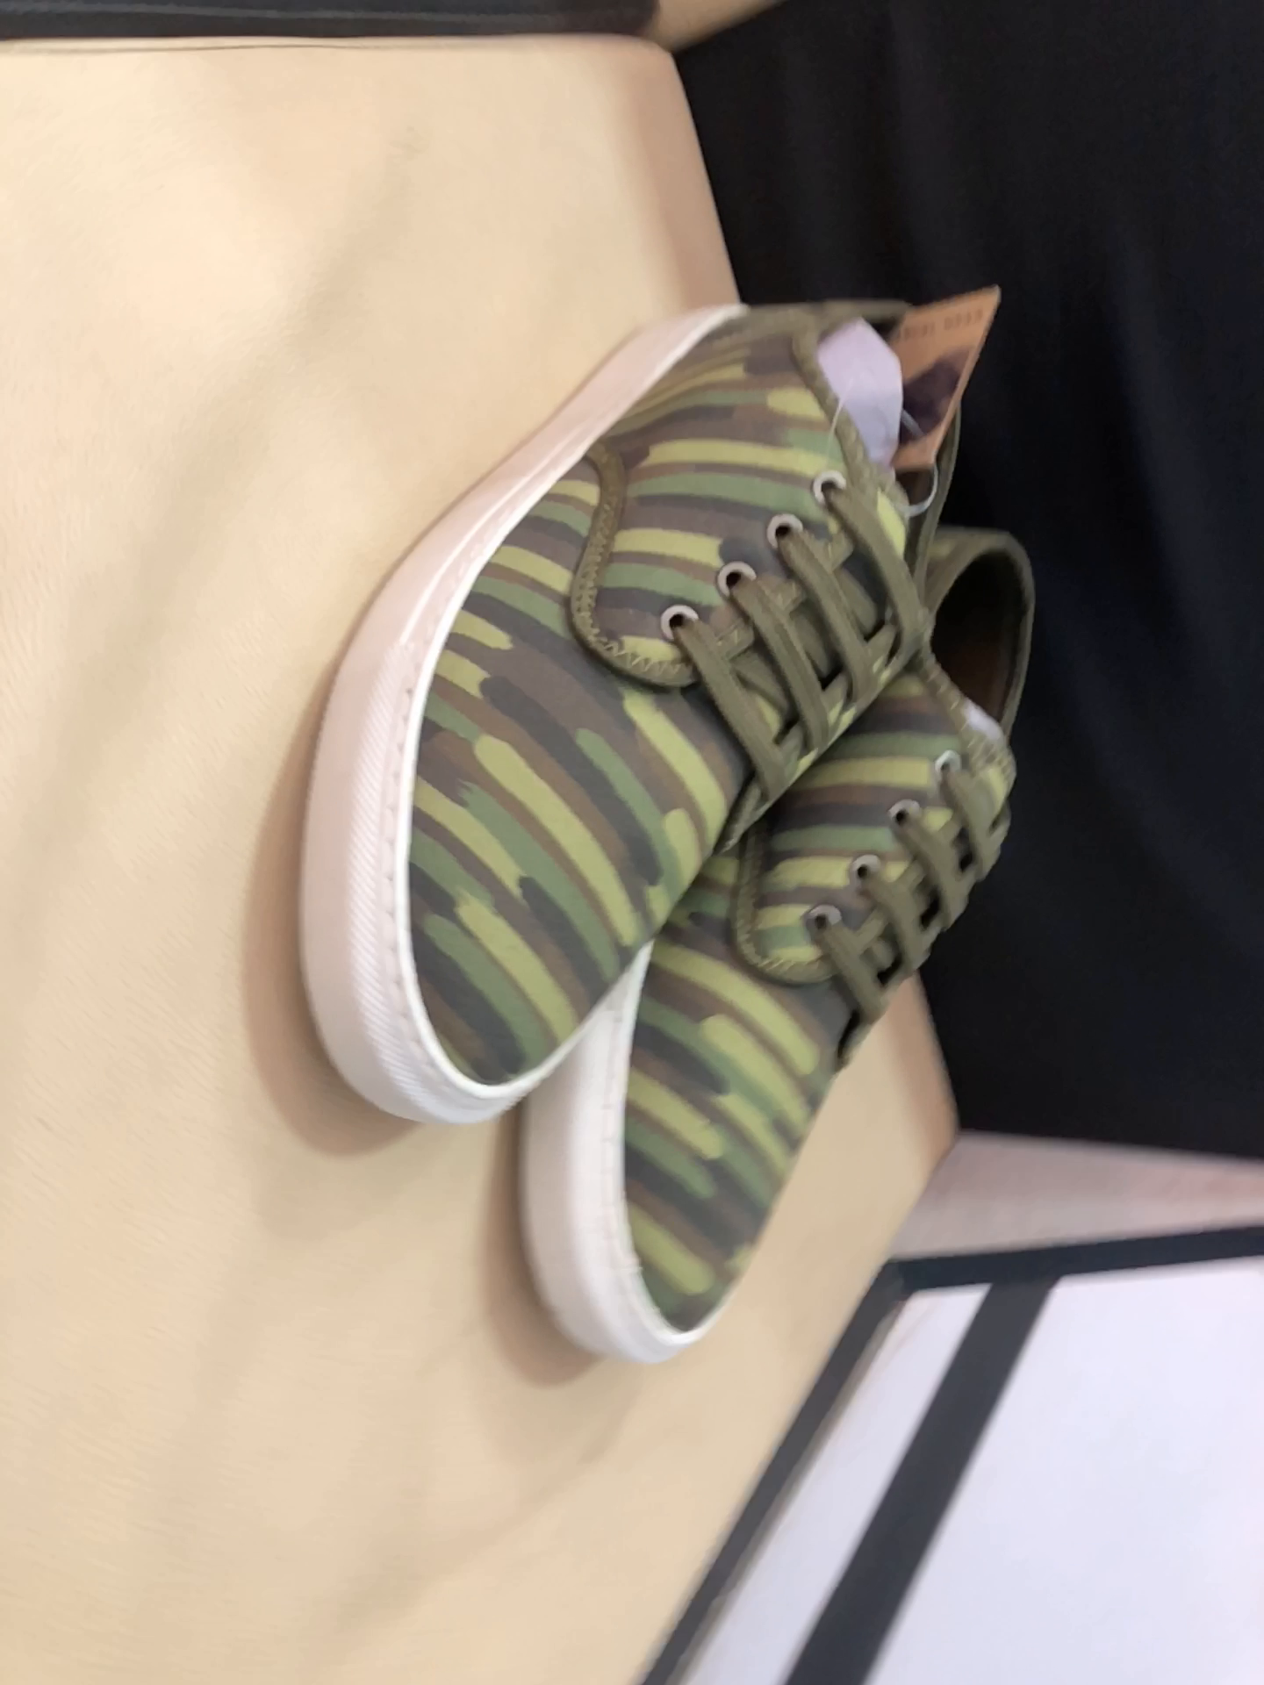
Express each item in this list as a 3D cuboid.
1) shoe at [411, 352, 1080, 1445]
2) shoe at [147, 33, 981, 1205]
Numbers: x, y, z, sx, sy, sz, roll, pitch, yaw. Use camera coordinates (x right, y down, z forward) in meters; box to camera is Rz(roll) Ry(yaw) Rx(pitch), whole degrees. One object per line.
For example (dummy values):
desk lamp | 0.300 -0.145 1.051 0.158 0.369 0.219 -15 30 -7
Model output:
shoe | 0.054 0.001 0.426 0.101 0.079 0.311 50 51 -40
shoe | 0.007 -0.073 0.378 0.101 0.079 0.311 50 51 -40
